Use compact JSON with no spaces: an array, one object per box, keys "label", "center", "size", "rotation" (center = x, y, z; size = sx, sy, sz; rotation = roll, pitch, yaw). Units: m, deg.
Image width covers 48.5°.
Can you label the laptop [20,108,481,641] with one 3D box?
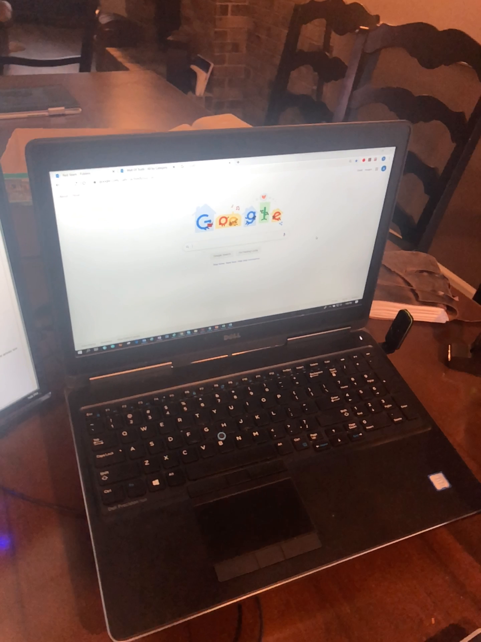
[{"label":"laptop","center":[0.036,0.005,0.472],"size":[0.367,0.258,0.287],"rotation":[-10,42,-20]}]
